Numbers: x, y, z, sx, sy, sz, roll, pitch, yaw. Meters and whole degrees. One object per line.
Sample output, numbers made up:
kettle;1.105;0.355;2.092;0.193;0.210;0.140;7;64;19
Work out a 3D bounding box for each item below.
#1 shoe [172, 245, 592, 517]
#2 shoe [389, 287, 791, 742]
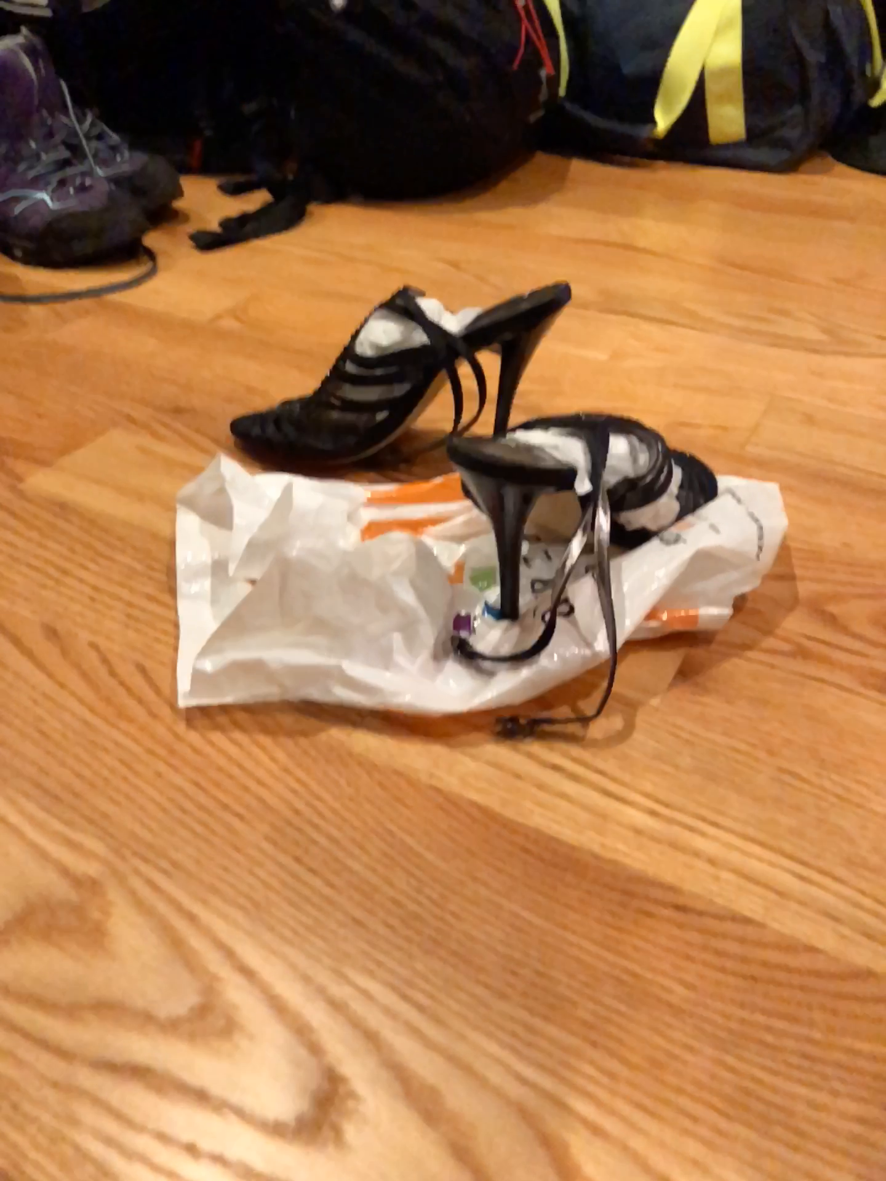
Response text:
shoe;-0.029;-0.126;0.573;0.217;0.112;0.091;6;37;8
shoe;0.077;-0.051;0.472;0.092;0.112;0.218;21;42;26
